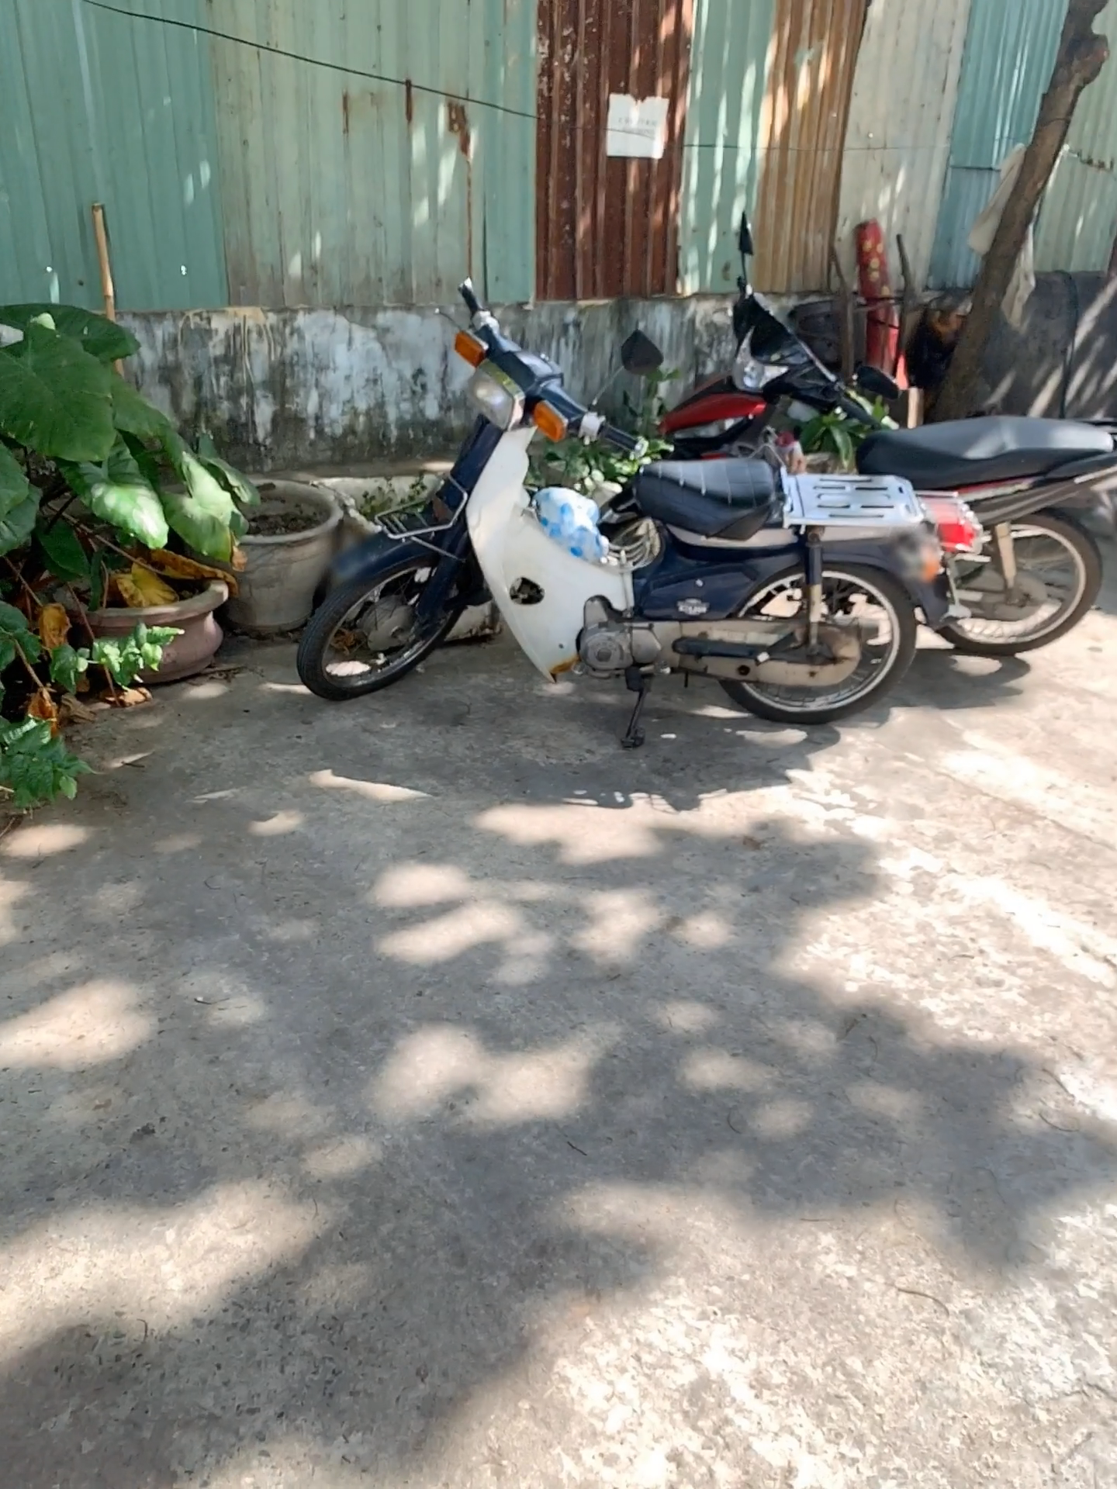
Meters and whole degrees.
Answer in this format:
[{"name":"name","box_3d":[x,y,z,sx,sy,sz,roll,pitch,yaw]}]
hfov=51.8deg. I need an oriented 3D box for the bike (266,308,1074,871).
[{"name":"bike","box_3d":[0.159,-0.383,2.576,1.474,1.024,0.656,-2,27,-7]}]
